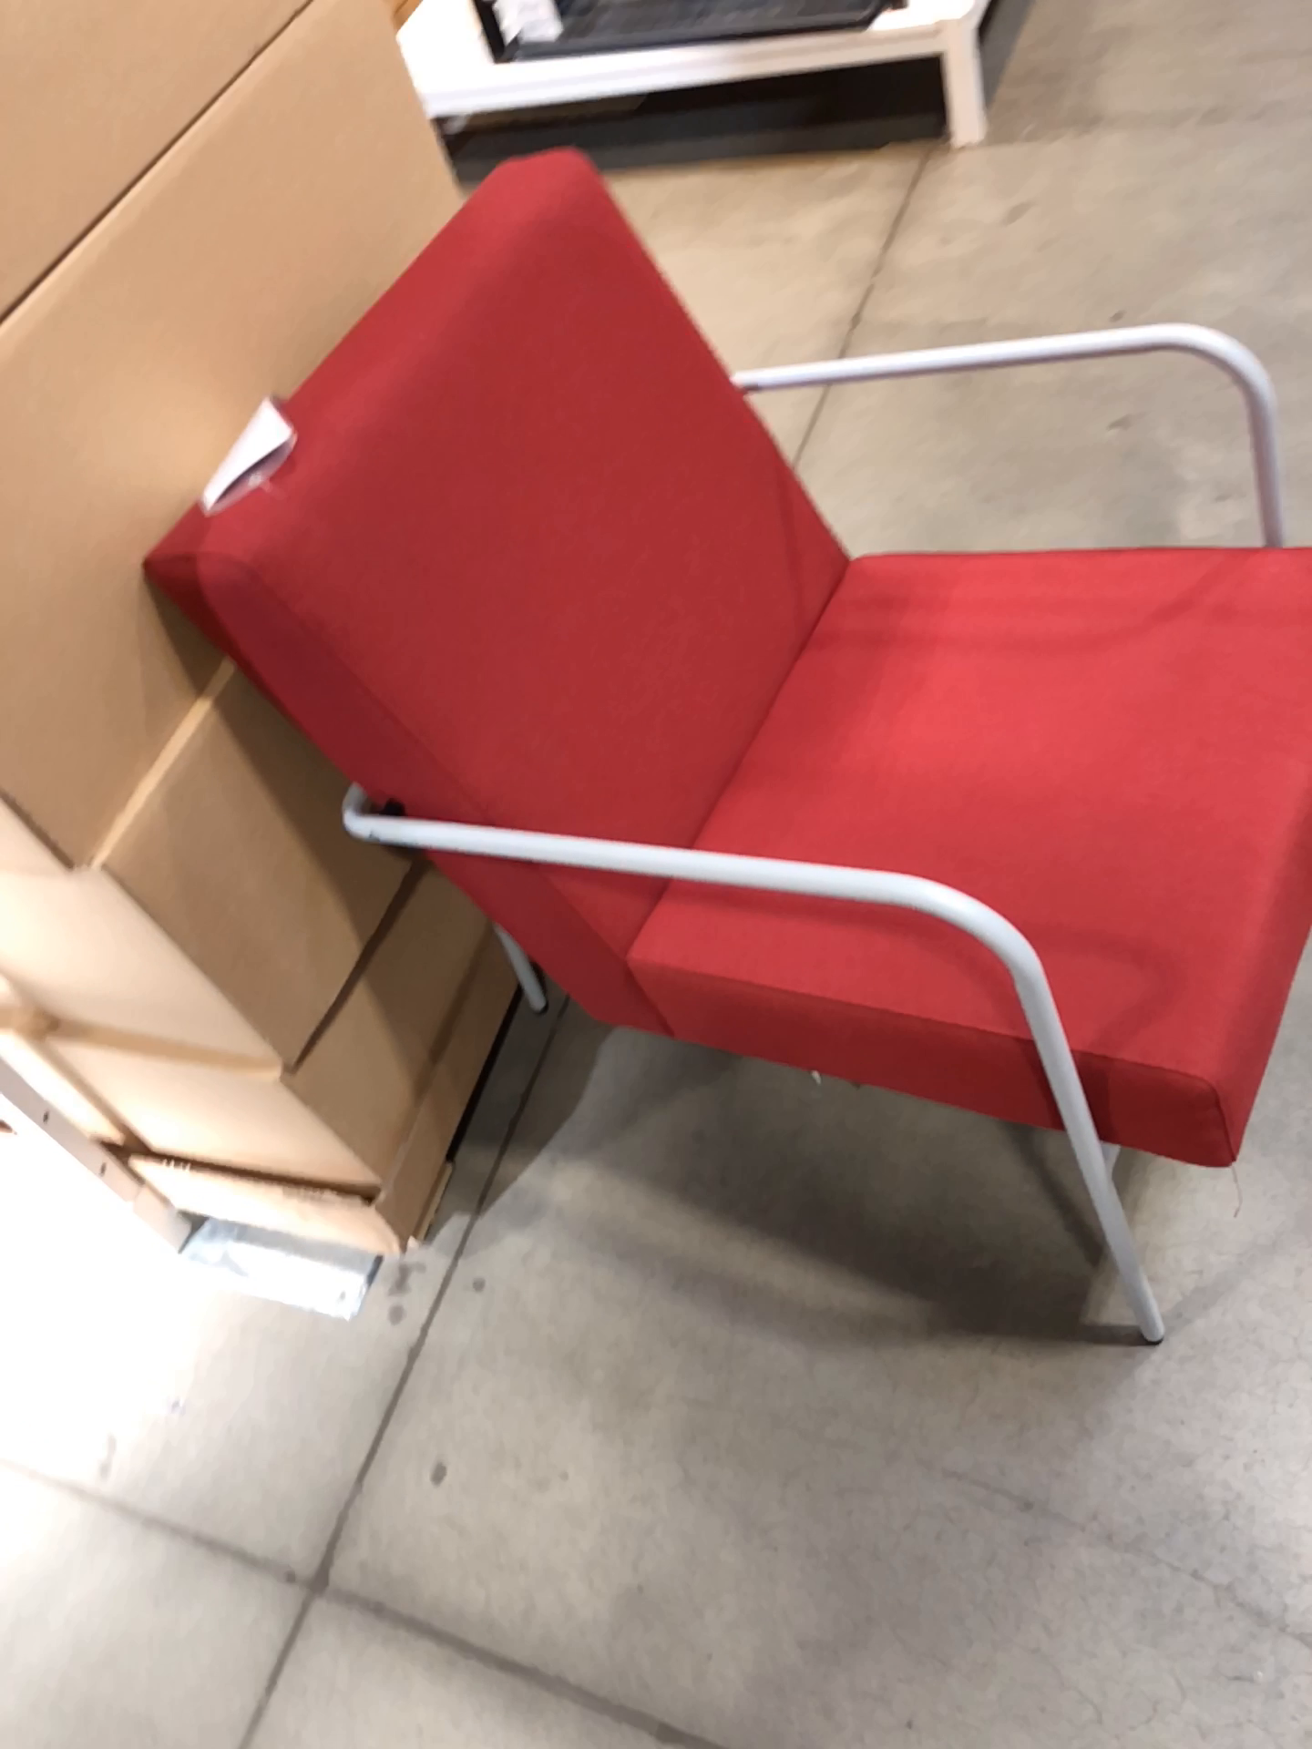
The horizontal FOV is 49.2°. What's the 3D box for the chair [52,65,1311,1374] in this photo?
[{"bbox_3d":[0.149,-0.136,1.205,0.762,0.708,0.631,14,59,28],"label":"chair"}]
